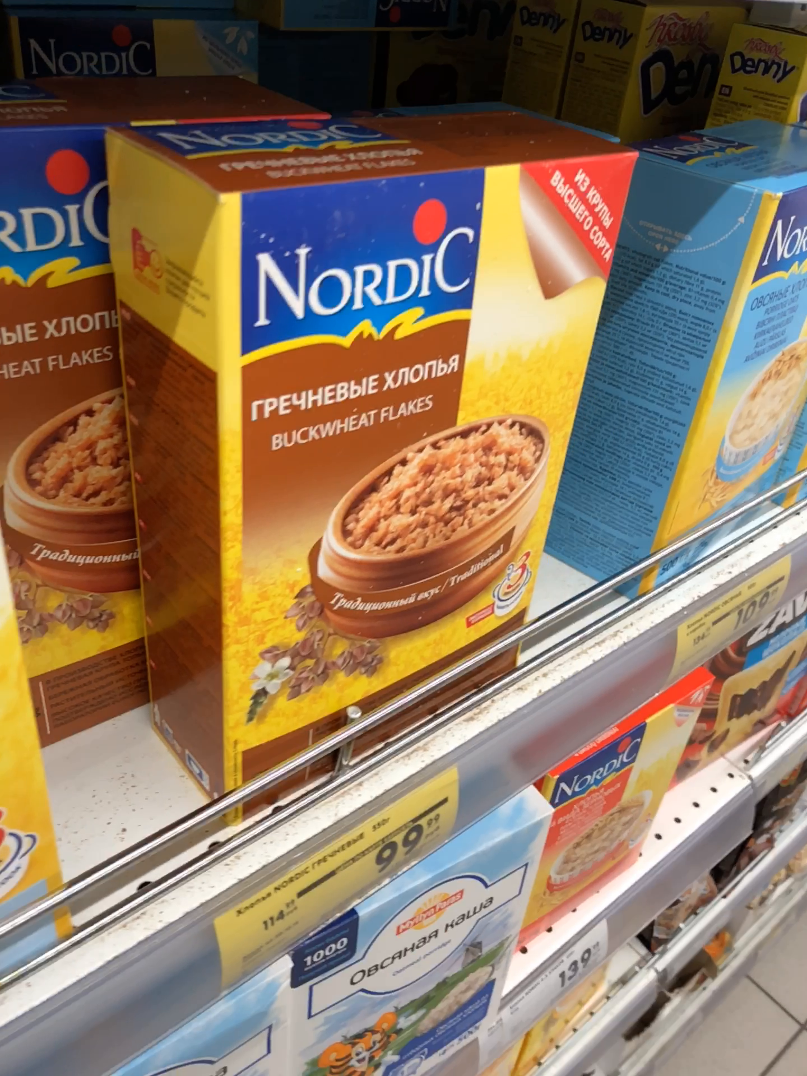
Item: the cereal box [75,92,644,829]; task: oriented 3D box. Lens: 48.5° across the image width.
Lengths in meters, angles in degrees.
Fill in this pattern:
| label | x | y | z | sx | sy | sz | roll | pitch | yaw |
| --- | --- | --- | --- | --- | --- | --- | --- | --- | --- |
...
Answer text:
| label | x | y | z | sx | sy | sz | roll | pitch | yaw |
| --- | --- | --- | --- | --- | --- | --- | --- | --- | --- |
| cereal box | -0.016 | -0.026 | 0.302 | 0.140 | 0.209 | 0.070 | -22 | 44 | -34 |
